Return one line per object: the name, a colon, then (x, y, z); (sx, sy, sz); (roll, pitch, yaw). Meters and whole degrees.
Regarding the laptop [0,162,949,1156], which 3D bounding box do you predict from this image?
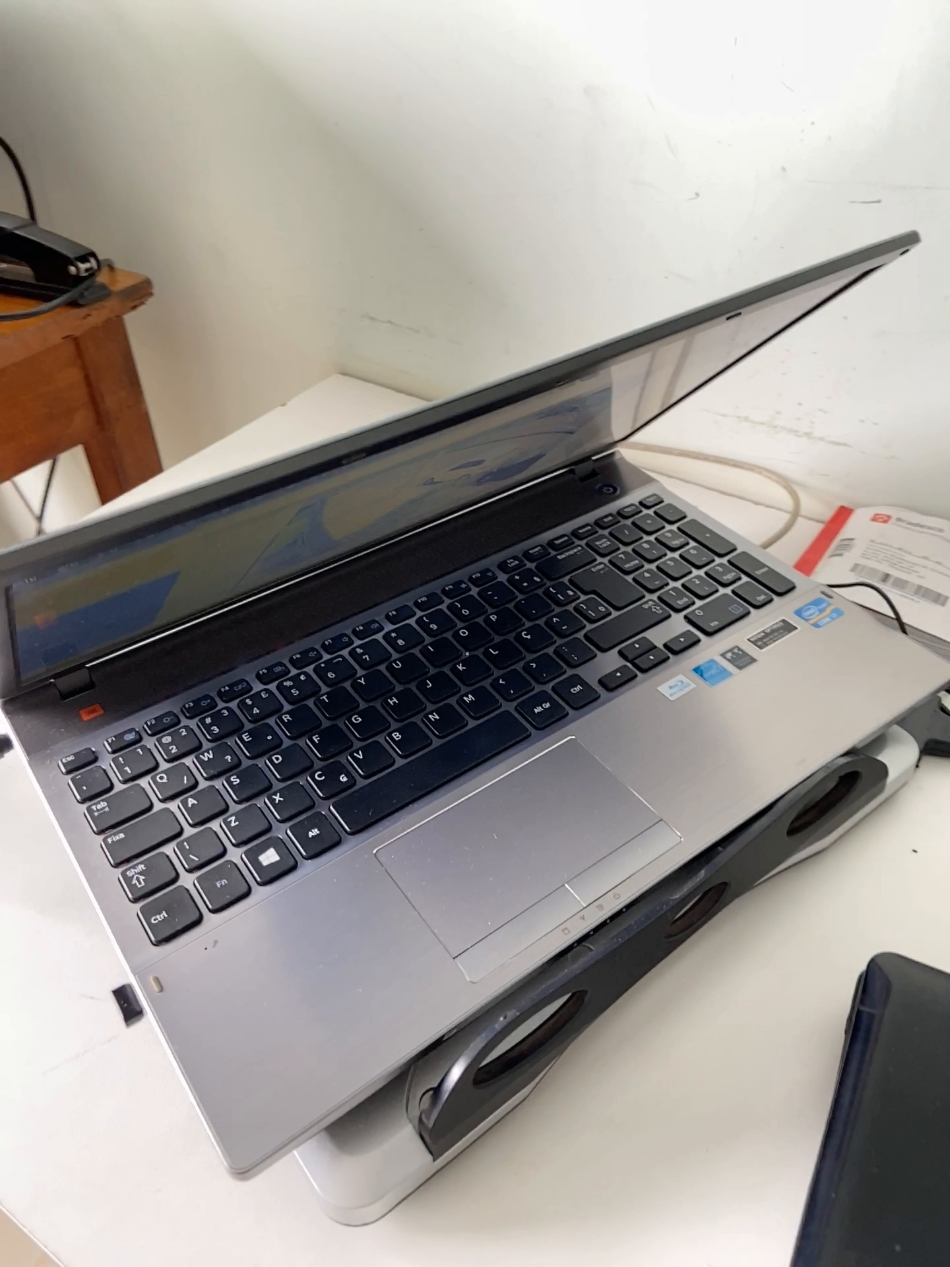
laptop: (0.011, -0.040, 0.391); (0.360, 0.164, 0.231); (-26, 48, -27)
